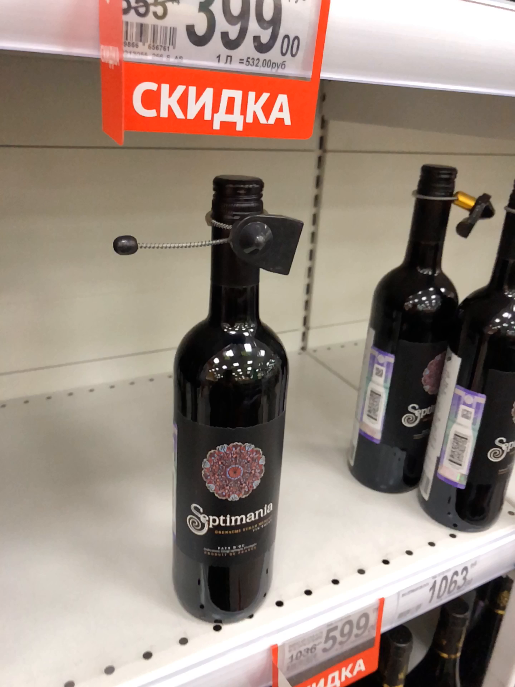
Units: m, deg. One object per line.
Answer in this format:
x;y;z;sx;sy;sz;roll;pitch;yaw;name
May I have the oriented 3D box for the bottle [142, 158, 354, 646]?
-0.018;0.039;0.366;0.090;0.290;0.090;3;23;-1;bottle
